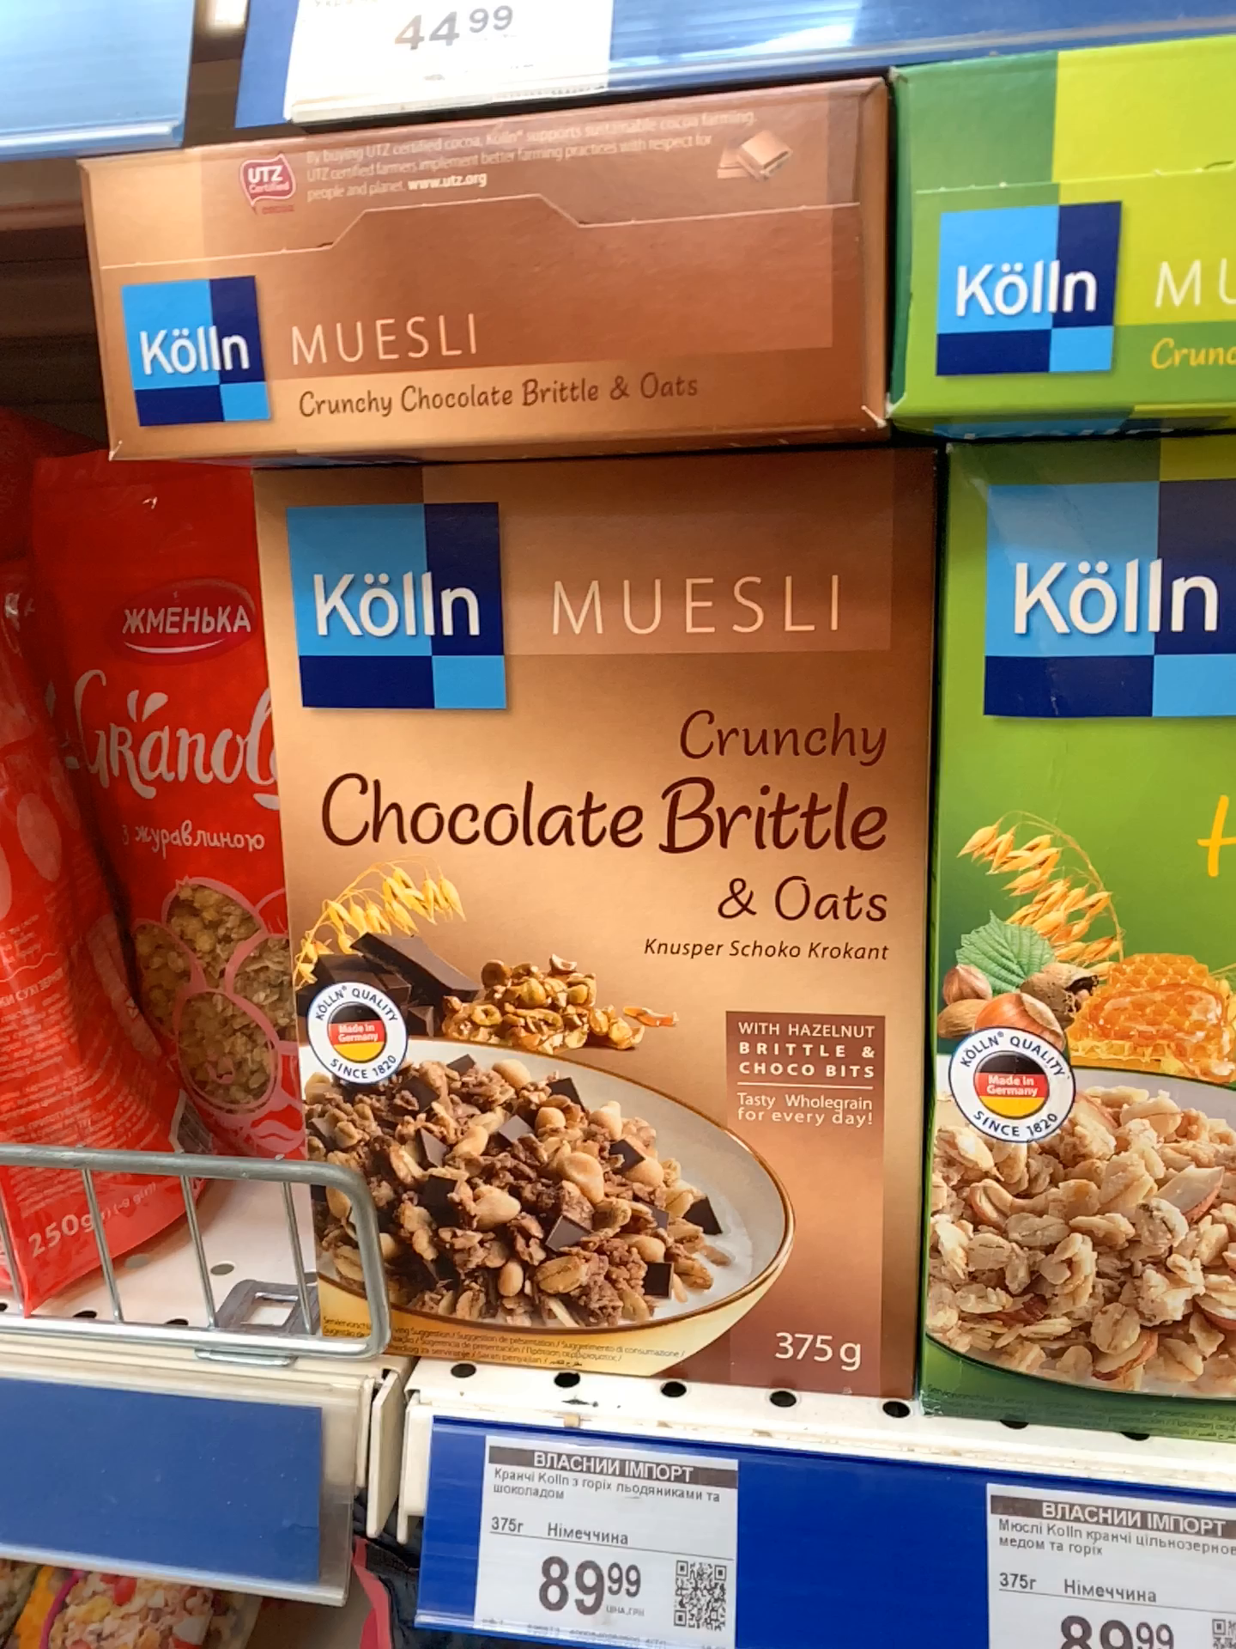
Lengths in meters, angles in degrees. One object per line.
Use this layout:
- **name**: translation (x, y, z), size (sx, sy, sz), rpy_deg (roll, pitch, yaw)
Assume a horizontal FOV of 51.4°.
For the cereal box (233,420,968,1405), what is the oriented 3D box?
- **cereal box**: translation (-0.001, 0.017, 0.306), size (0.150, 0.209, 0.060), rpy_deg (1, 12, 10)
